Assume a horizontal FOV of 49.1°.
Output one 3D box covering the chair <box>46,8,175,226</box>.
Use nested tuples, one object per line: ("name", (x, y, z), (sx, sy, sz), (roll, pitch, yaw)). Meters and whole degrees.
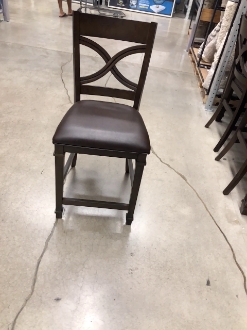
("chair", (-0.111, -0.251, 1.599), (0.490, 1.027, 0.652), (6, 38, -5))
